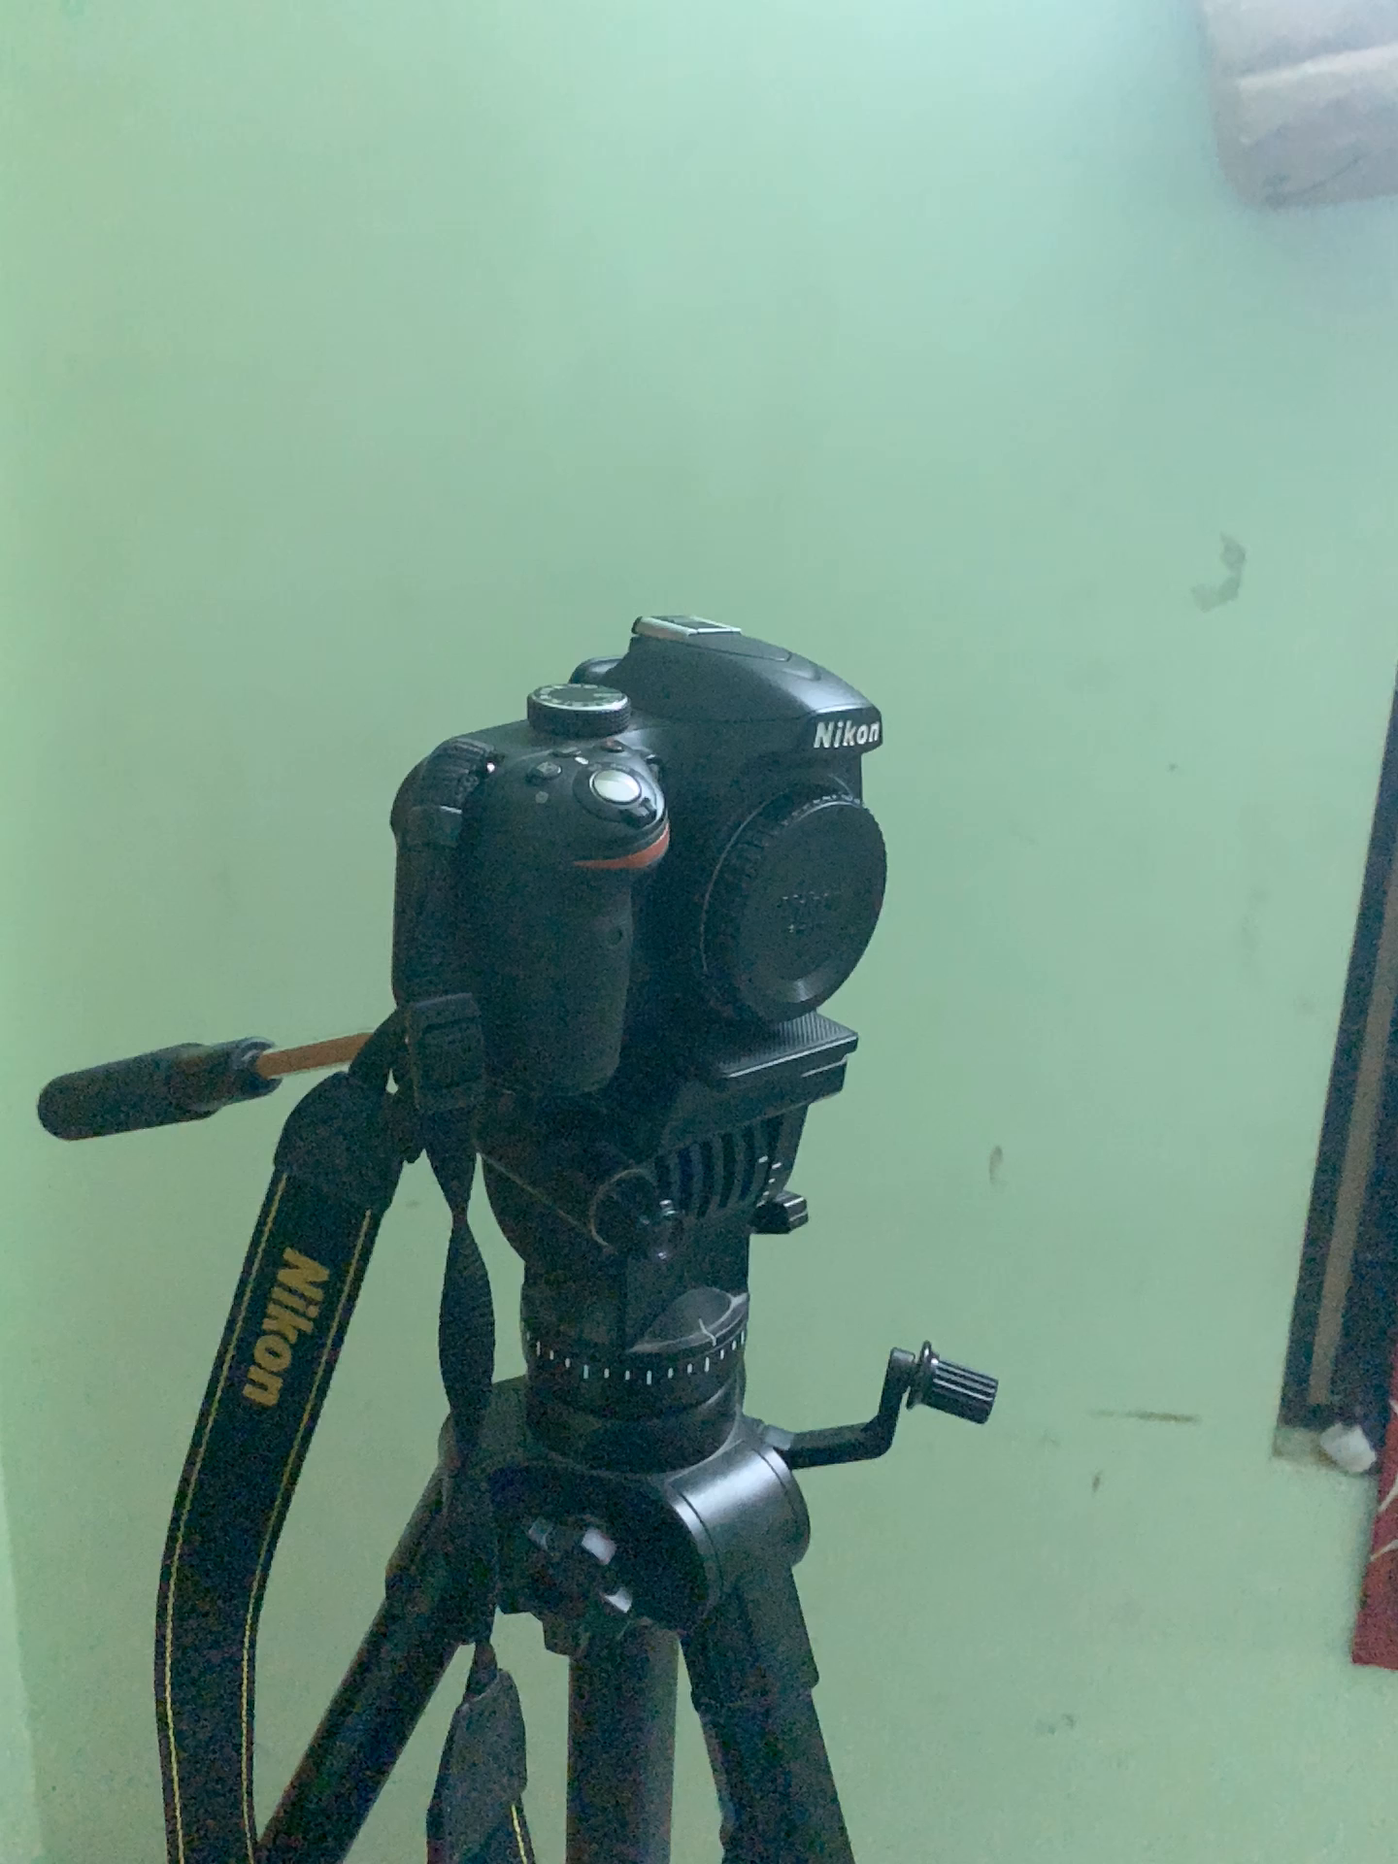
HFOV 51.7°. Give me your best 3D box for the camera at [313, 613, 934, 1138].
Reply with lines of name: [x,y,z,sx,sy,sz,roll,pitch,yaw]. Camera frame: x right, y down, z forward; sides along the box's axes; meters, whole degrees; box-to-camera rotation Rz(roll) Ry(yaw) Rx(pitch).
camera: [-0.016,-0.024,0.348,0.086,0.096,0.118,16,21,41]
